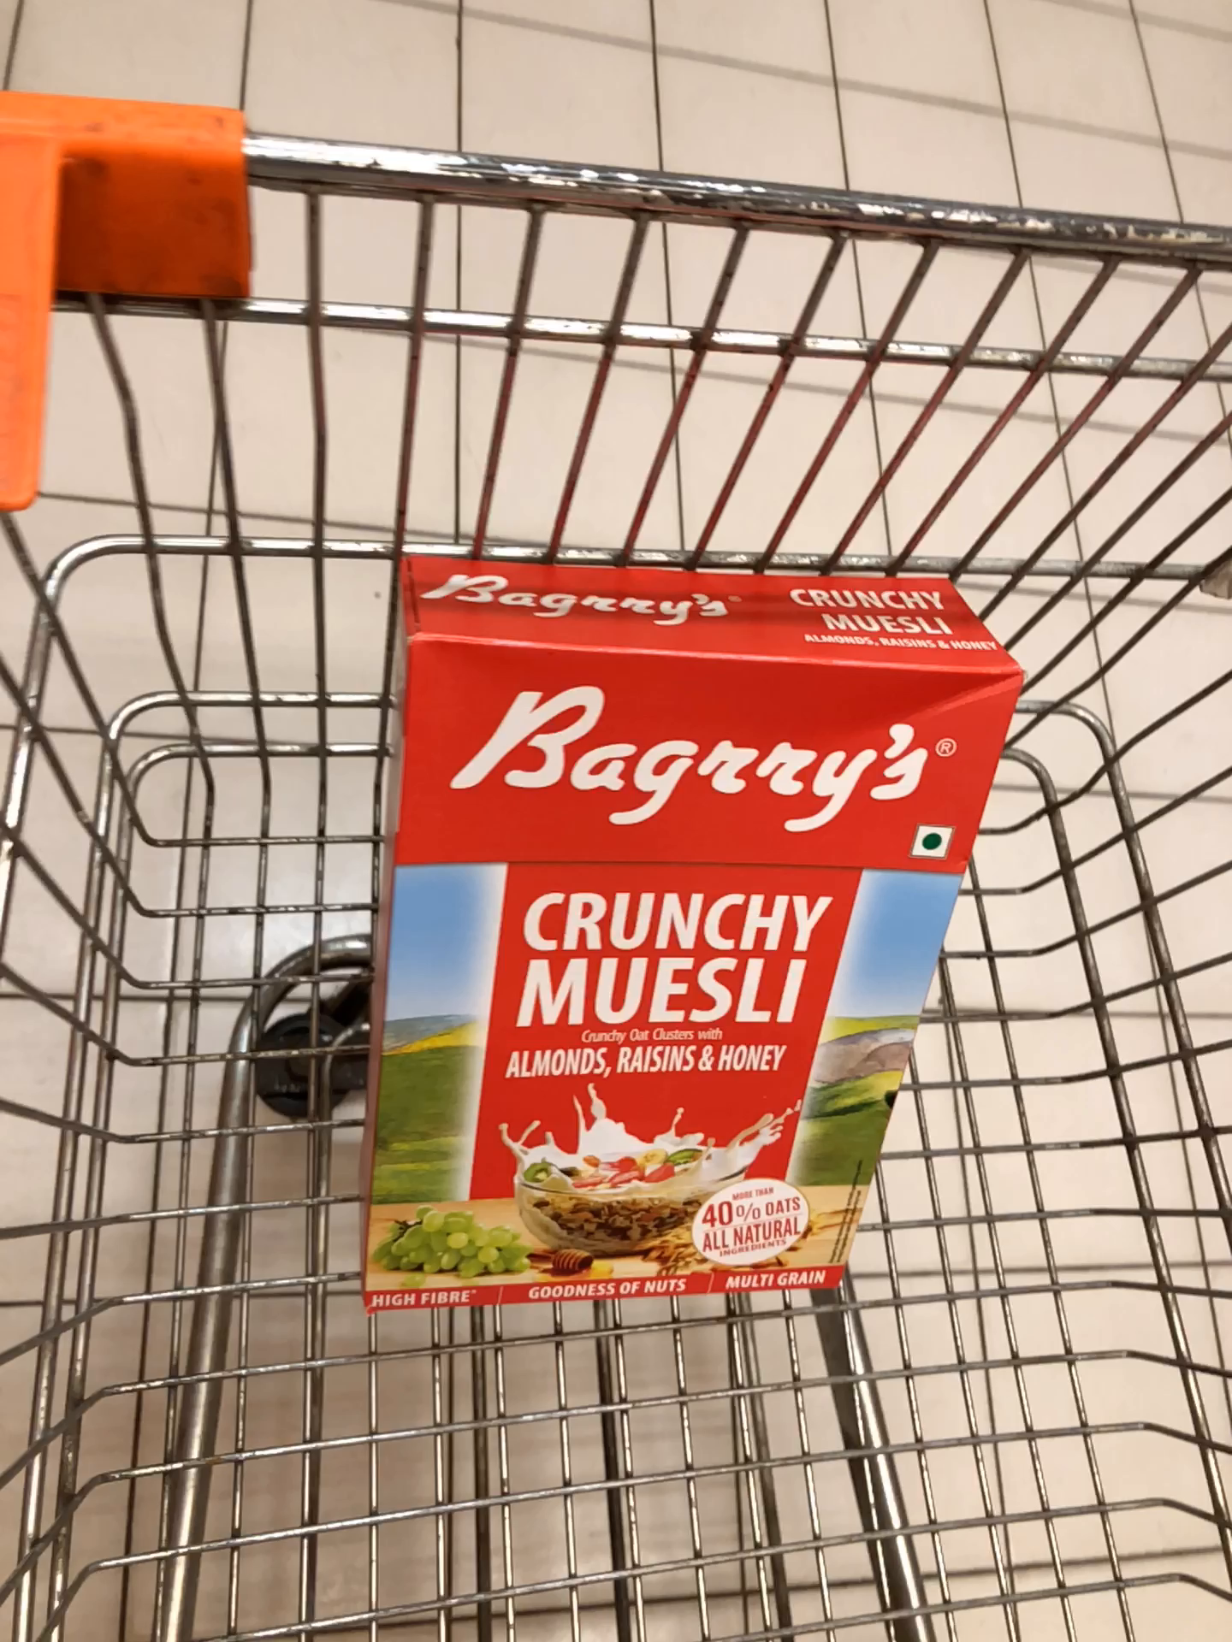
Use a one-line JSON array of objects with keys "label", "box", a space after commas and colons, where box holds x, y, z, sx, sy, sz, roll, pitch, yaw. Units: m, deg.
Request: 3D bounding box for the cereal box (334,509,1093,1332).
[{"label": "cereal box", "box": [0.010, 0.048, 0.448, 0.190, 0.279, 0.060, 1, 34, -14]}]
